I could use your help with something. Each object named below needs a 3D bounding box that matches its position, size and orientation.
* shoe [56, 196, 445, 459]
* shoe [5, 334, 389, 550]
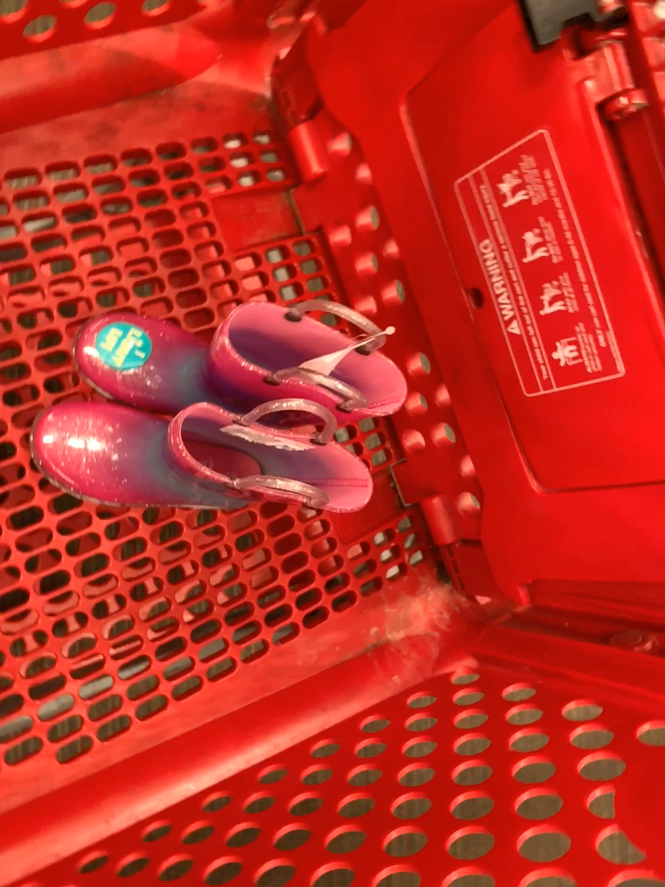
[{"bbox_3d":[-0.058,-0.054,0.430,0.200,0.140,0.070,18,81,-20],"label":"shoe"},{"bbox_3d":[-0.087,0.007,0.426,0.190,0.140,0.070,15,82,-21],"label":"shoe"}]
